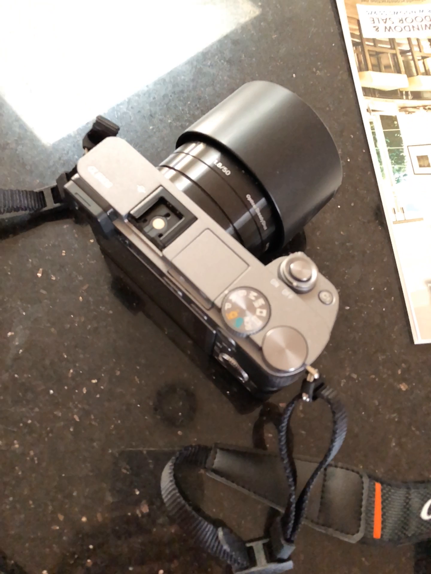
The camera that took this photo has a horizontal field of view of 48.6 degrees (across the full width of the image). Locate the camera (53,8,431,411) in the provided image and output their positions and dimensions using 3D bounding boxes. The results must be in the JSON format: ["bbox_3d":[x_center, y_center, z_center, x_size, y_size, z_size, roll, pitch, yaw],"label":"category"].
[{"bbox_3d":[0.021,-0.033,0.205,0.120,0.060,0.110,42,73,12],"label":"camera"}]
